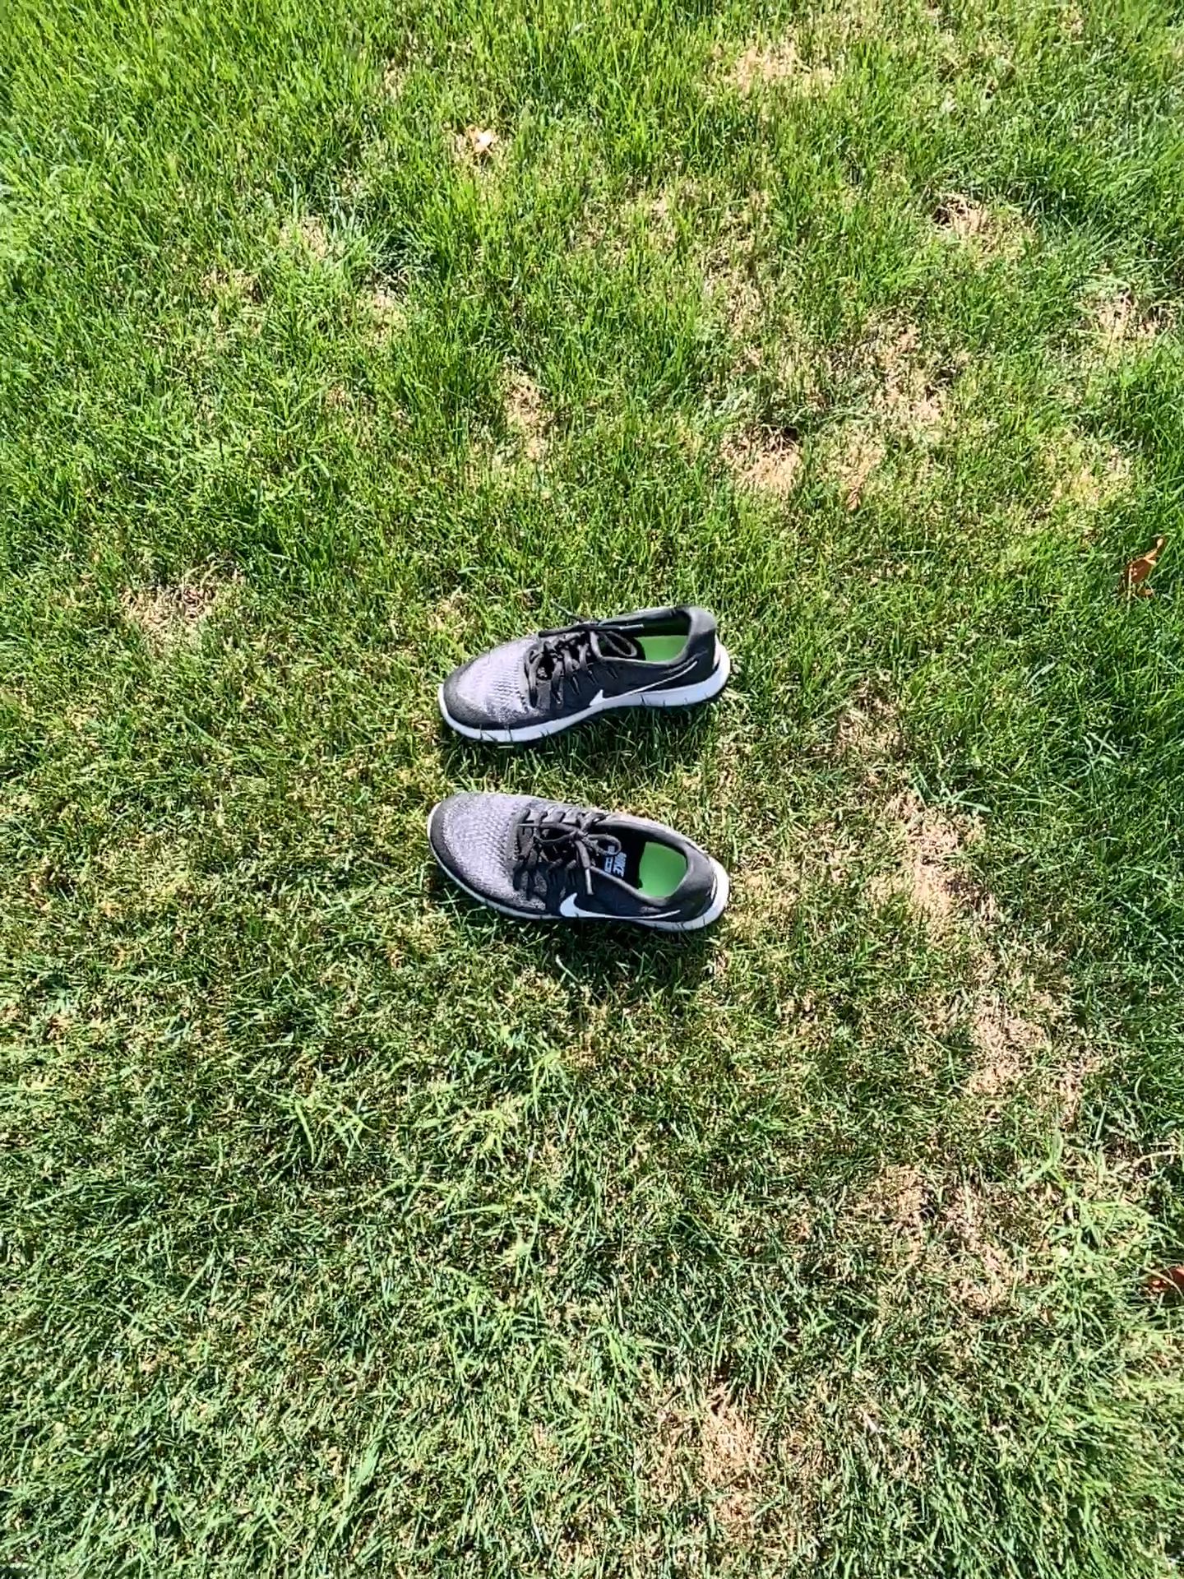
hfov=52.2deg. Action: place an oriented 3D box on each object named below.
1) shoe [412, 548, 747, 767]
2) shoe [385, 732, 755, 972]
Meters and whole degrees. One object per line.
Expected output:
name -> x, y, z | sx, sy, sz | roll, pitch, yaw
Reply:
shoe -> -0.011, -0.115, 1.087 | 0.270, 0.130, 0.100 | -11, 71, -3
shoe -> -0.017, 0.056, 1.032 | 0.280, 0.130, 0.100 | 16, 72, 7
